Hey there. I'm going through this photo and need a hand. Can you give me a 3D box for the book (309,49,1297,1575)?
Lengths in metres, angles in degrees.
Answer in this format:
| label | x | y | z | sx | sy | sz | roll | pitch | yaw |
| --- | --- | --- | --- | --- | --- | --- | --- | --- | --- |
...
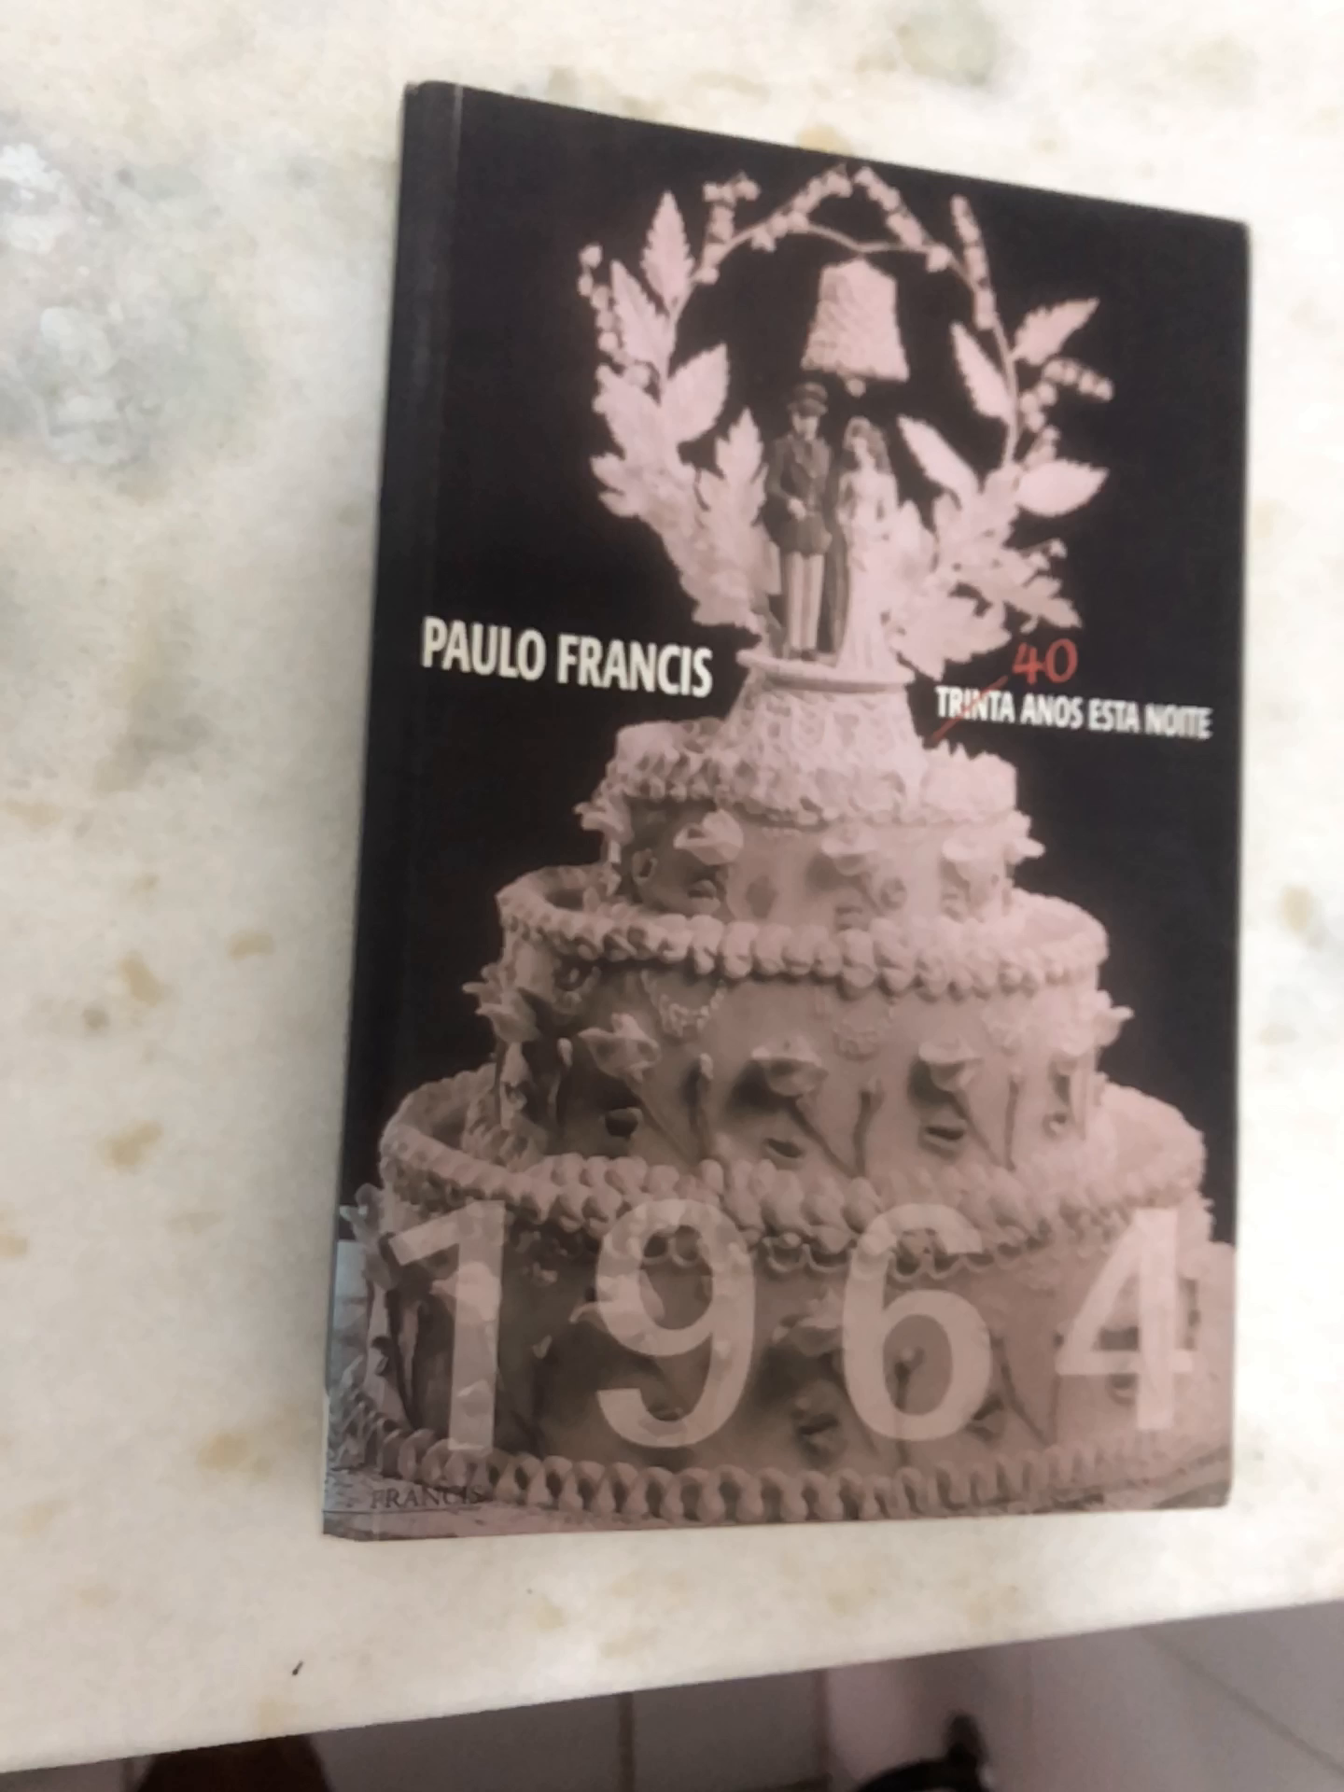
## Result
| label | x | y | z | sx | sy | sz | roll | pitch | yaw |
| --- | --- | --- | --- | --- | --- | --- | --- | --- | --- |
| book | 0.024 | -0.010 | 0.226 | 0.140 | 0.020 | 0.203 | 3 | 86 | -13 |
